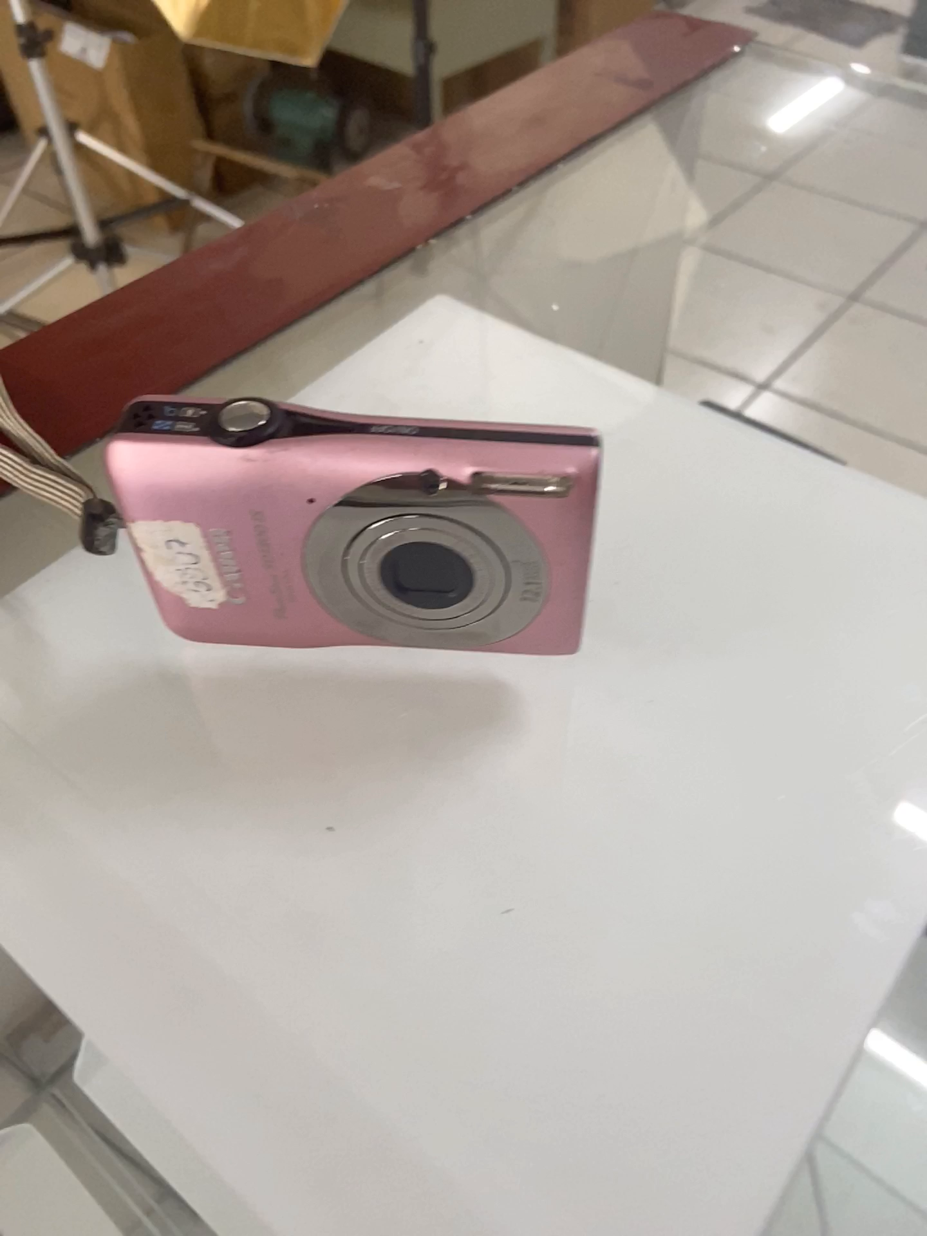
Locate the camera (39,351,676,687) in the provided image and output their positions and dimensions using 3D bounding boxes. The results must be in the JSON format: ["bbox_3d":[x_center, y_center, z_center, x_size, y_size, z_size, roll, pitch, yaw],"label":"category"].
[{"bbox_3d":[-0.017,-0.017,0.180,0.100,0.050,0.030,3,48,1],"label":"camera"}]
